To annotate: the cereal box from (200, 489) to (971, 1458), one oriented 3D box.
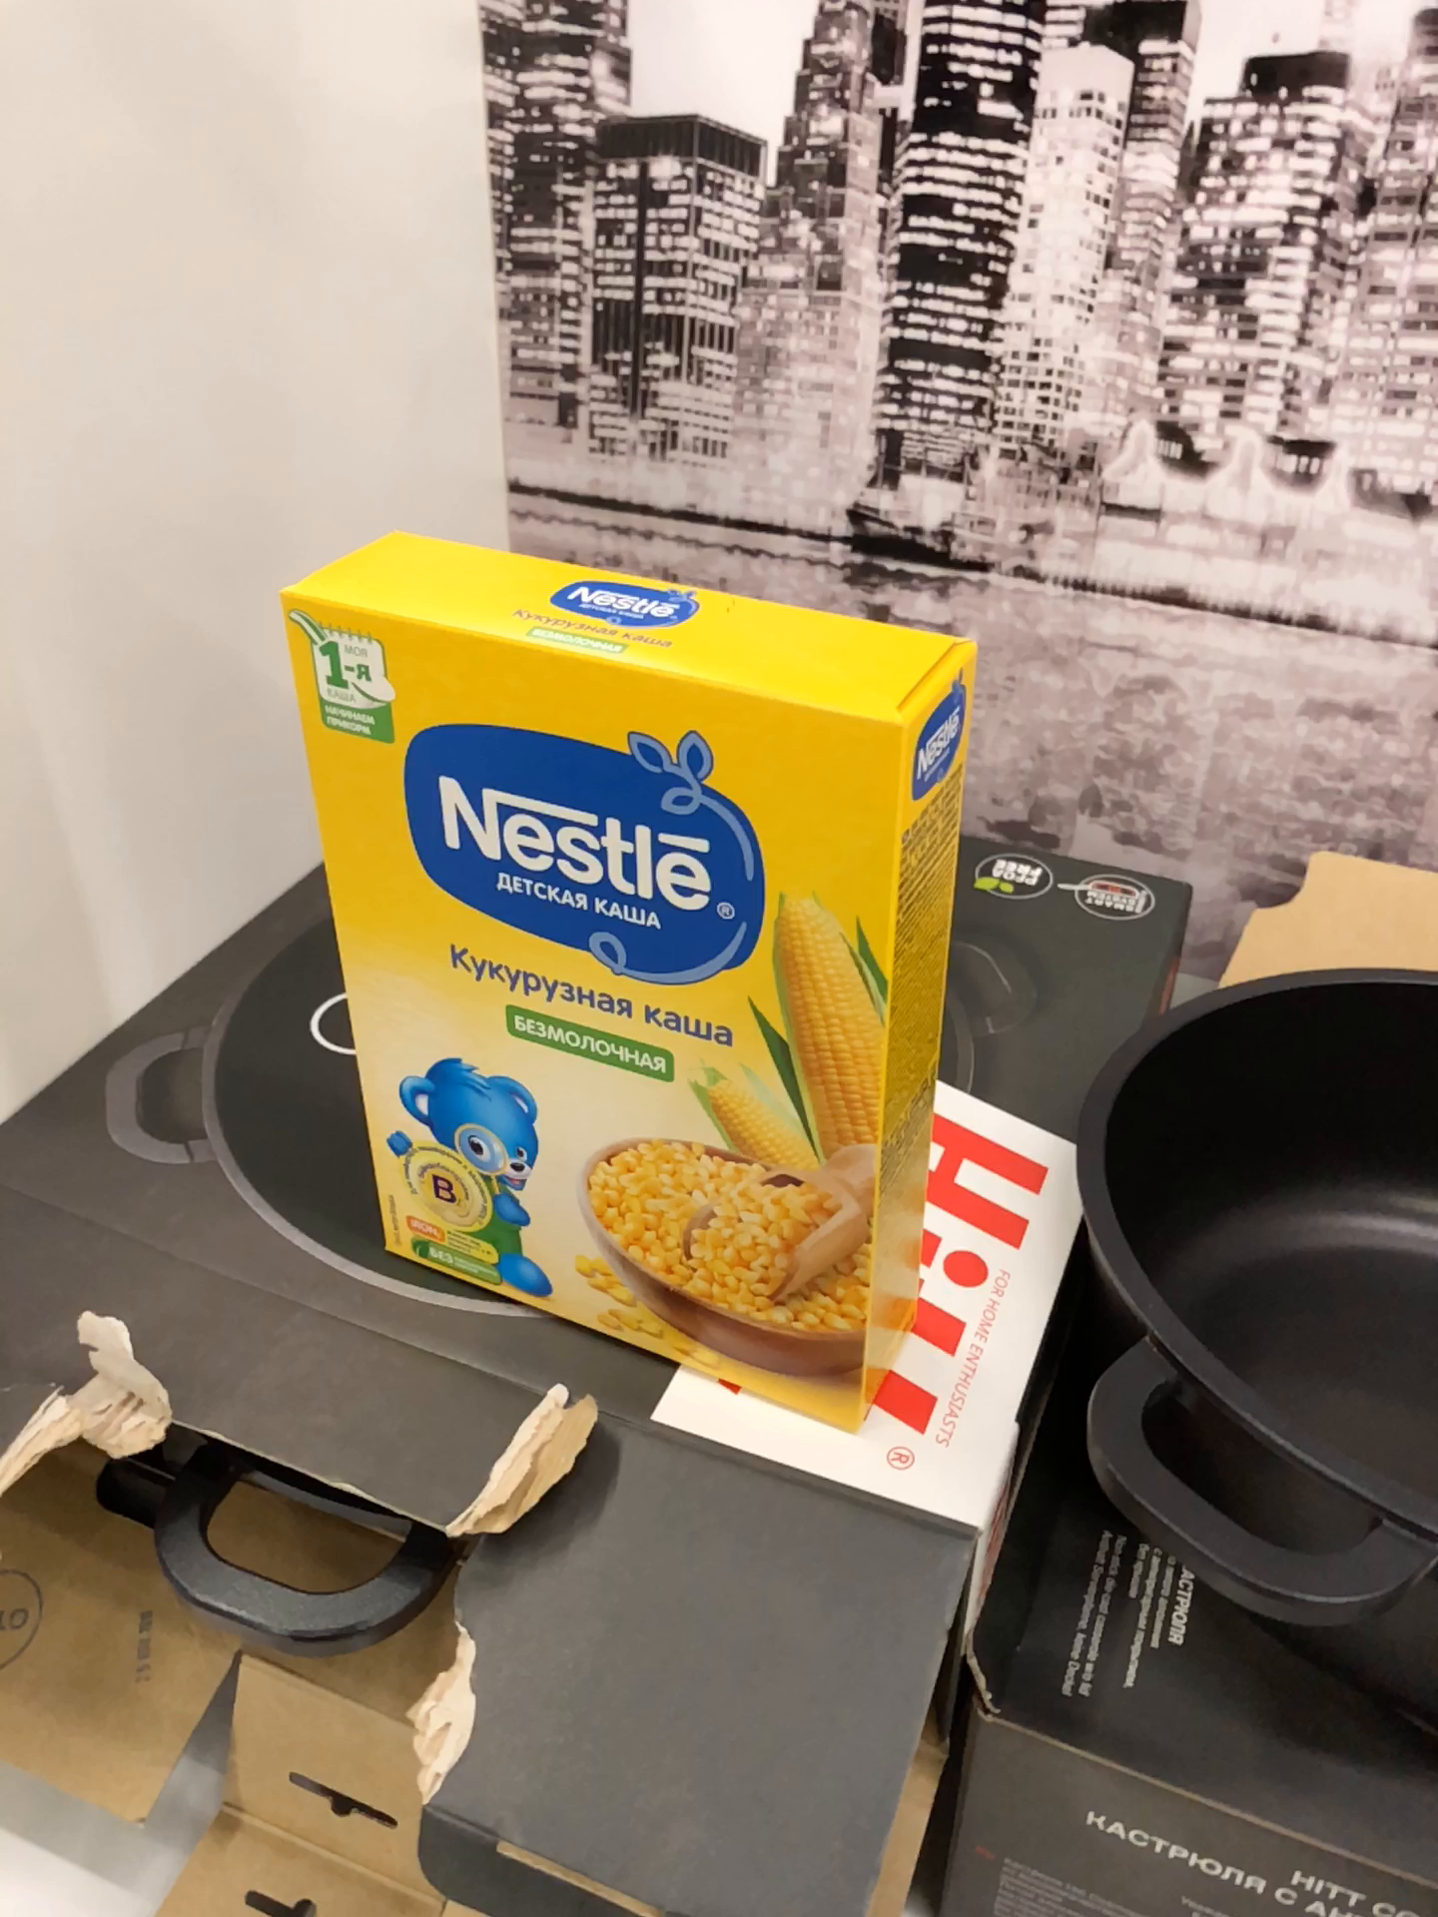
[{"bbox_3d":[-0.029,0.006,0.374,0.150,0.199,0.050,15,36,22],"label":"cereal box"}]
